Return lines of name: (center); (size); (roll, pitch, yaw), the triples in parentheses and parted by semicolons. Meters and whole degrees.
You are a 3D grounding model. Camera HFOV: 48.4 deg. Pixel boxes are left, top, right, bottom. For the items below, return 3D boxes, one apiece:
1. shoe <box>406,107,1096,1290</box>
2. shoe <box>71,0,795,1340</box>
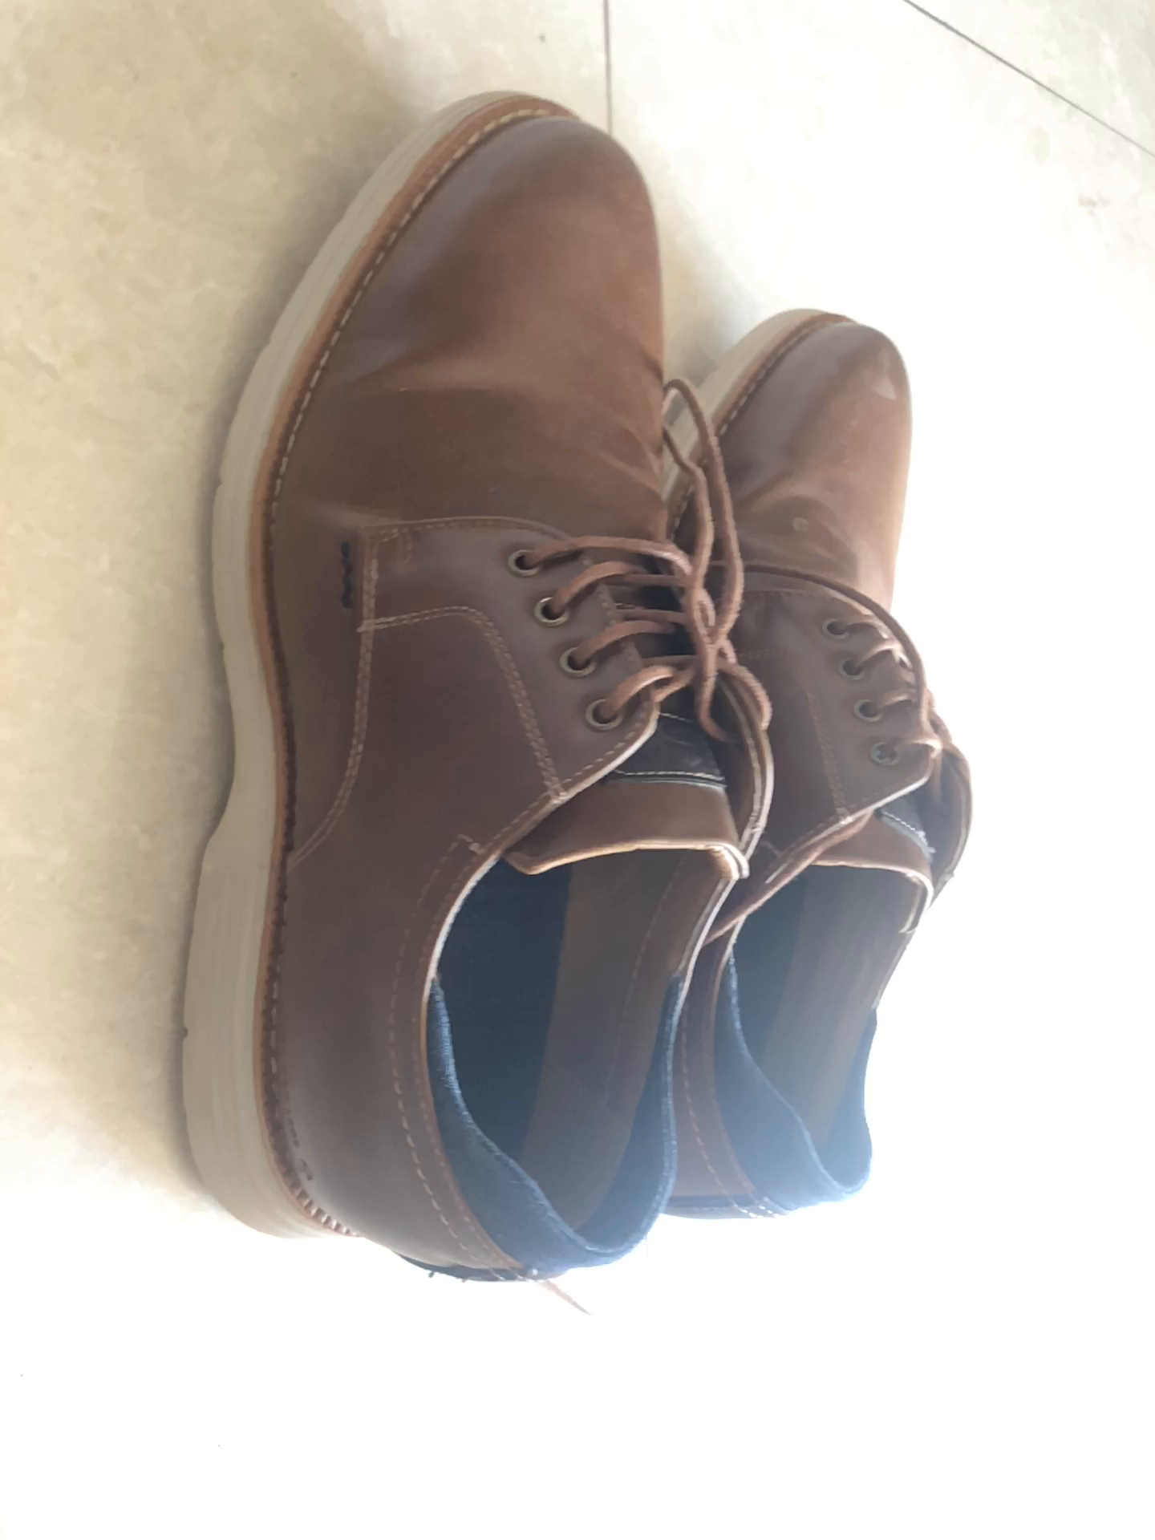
shoe: (0.061, -0.022, 0.390); (0.100, 0.099, 0.310); (27, 72, -40)
shoe: (-0.033, -0.039, 0.325); (0.101, 0.099, 0.310); (13, 82, -42)
